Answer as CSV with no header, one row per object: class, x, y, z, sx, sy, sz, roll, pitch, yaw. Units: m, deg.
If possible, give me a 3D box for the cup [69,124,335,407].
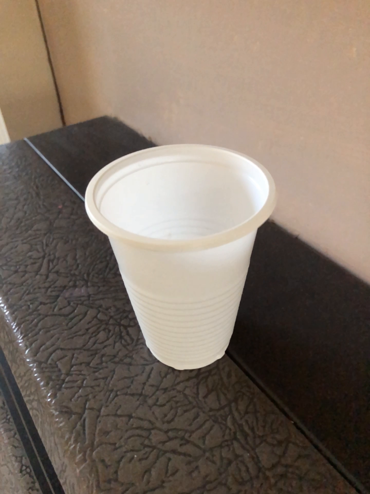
cup,0.005,0.002,0.186,0.072,0.073,0.080,-25,43,-22
